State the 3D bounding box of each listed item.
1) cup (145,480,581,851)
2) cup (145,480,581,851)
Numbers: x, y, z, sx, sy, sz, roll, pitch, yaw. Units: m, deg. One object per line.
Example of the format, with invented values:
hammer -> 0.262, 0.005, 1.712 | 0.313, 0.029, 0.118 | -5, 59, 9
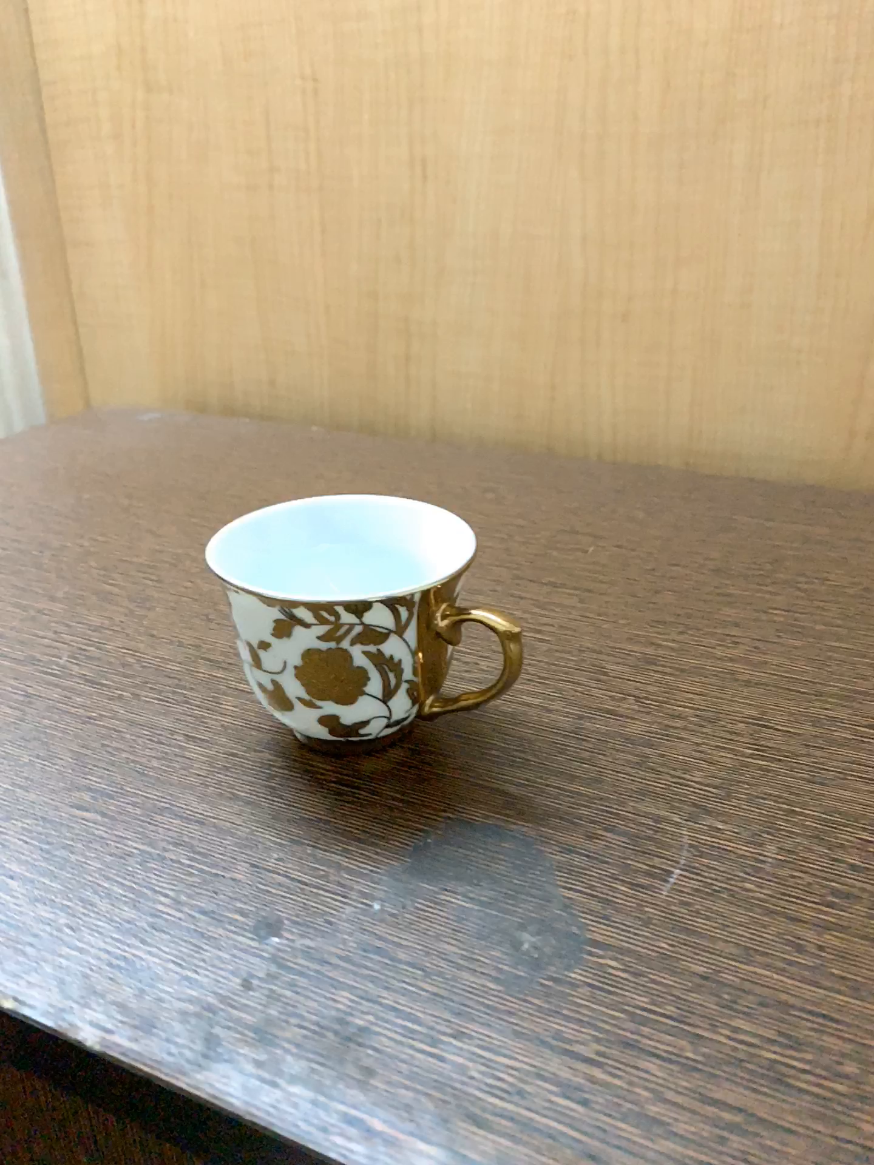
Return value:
cup -> -0.016, 0.014, 0.231 | 0.080, 0.050, 0.070 | 13, 28, 27
cup -> -0.016, 0.014, 0.231 | 0.080, 0.050, 0.070 | 13, 28, 27
